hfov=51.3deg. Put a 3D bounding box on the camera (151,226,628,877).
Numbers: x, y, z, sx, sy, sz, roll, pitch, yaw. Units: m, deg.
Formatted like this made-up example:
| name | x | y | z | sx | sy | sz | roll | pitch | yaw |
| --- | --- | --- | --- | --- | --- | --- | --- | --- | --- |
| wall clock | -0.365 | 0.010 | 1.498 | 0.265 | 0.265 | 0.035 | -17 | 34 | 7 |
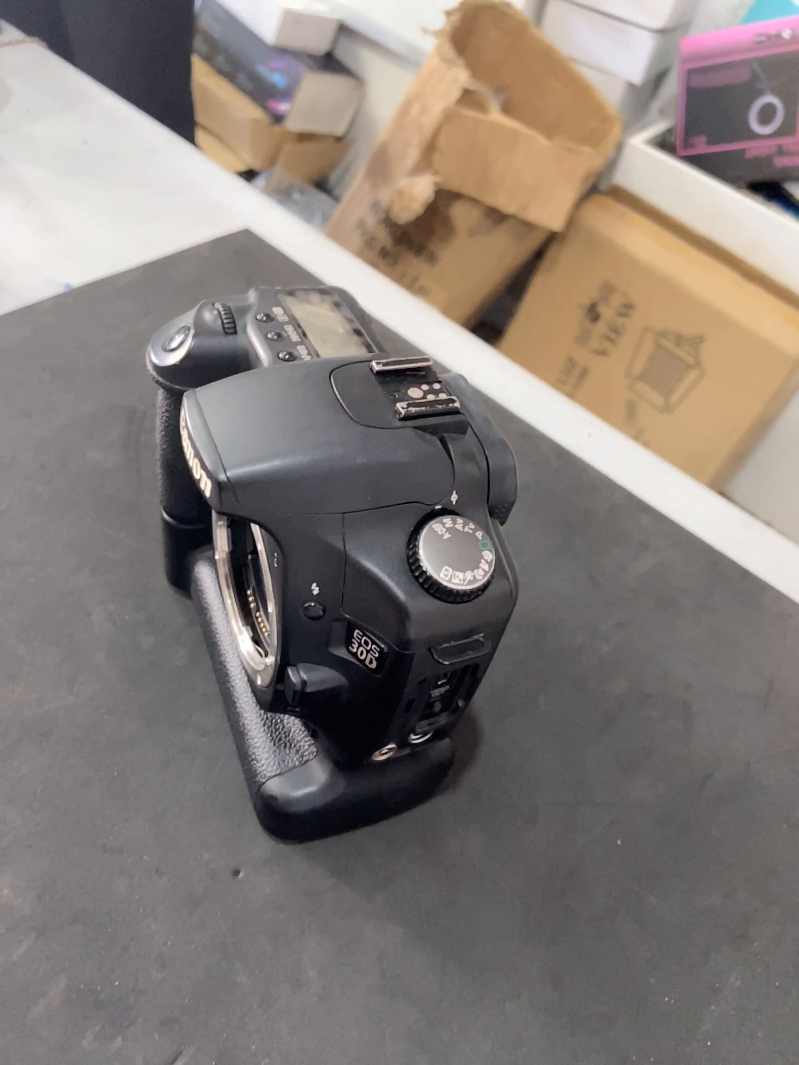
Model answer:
| name | x | y | z | sx | sy | sz | roll | pitch | yaw |
| --- | --- | --- | --- | --- | --- | --- | --- | --- | --- |
| camera | -0.023 | 0.004 | 0.266 | 0.080 | 0.139 | 0.141 | -10 | 51 | -23 |
